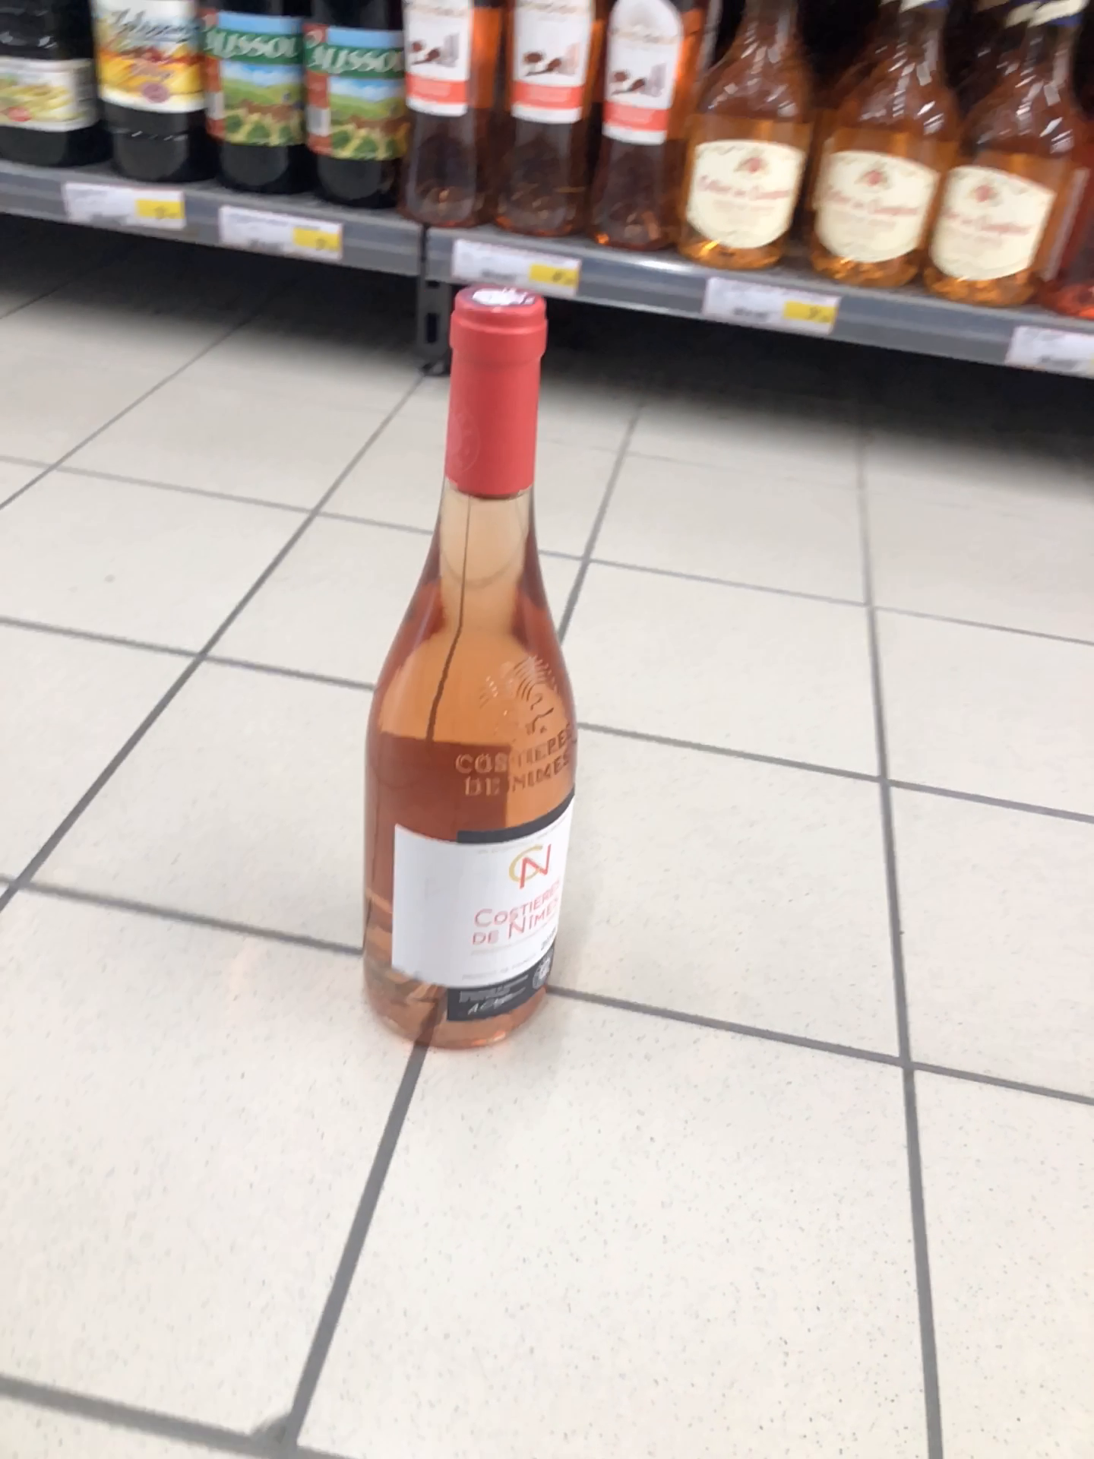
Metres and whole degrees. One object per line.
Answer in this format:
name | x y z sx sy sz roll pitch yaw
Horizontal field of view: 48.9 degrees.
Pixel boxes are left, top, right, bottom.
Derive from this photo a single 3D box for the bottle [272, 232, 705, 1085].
bottle | -0.031 -0.016 0.427 0.090 0.278 0.090 5 34 -3
